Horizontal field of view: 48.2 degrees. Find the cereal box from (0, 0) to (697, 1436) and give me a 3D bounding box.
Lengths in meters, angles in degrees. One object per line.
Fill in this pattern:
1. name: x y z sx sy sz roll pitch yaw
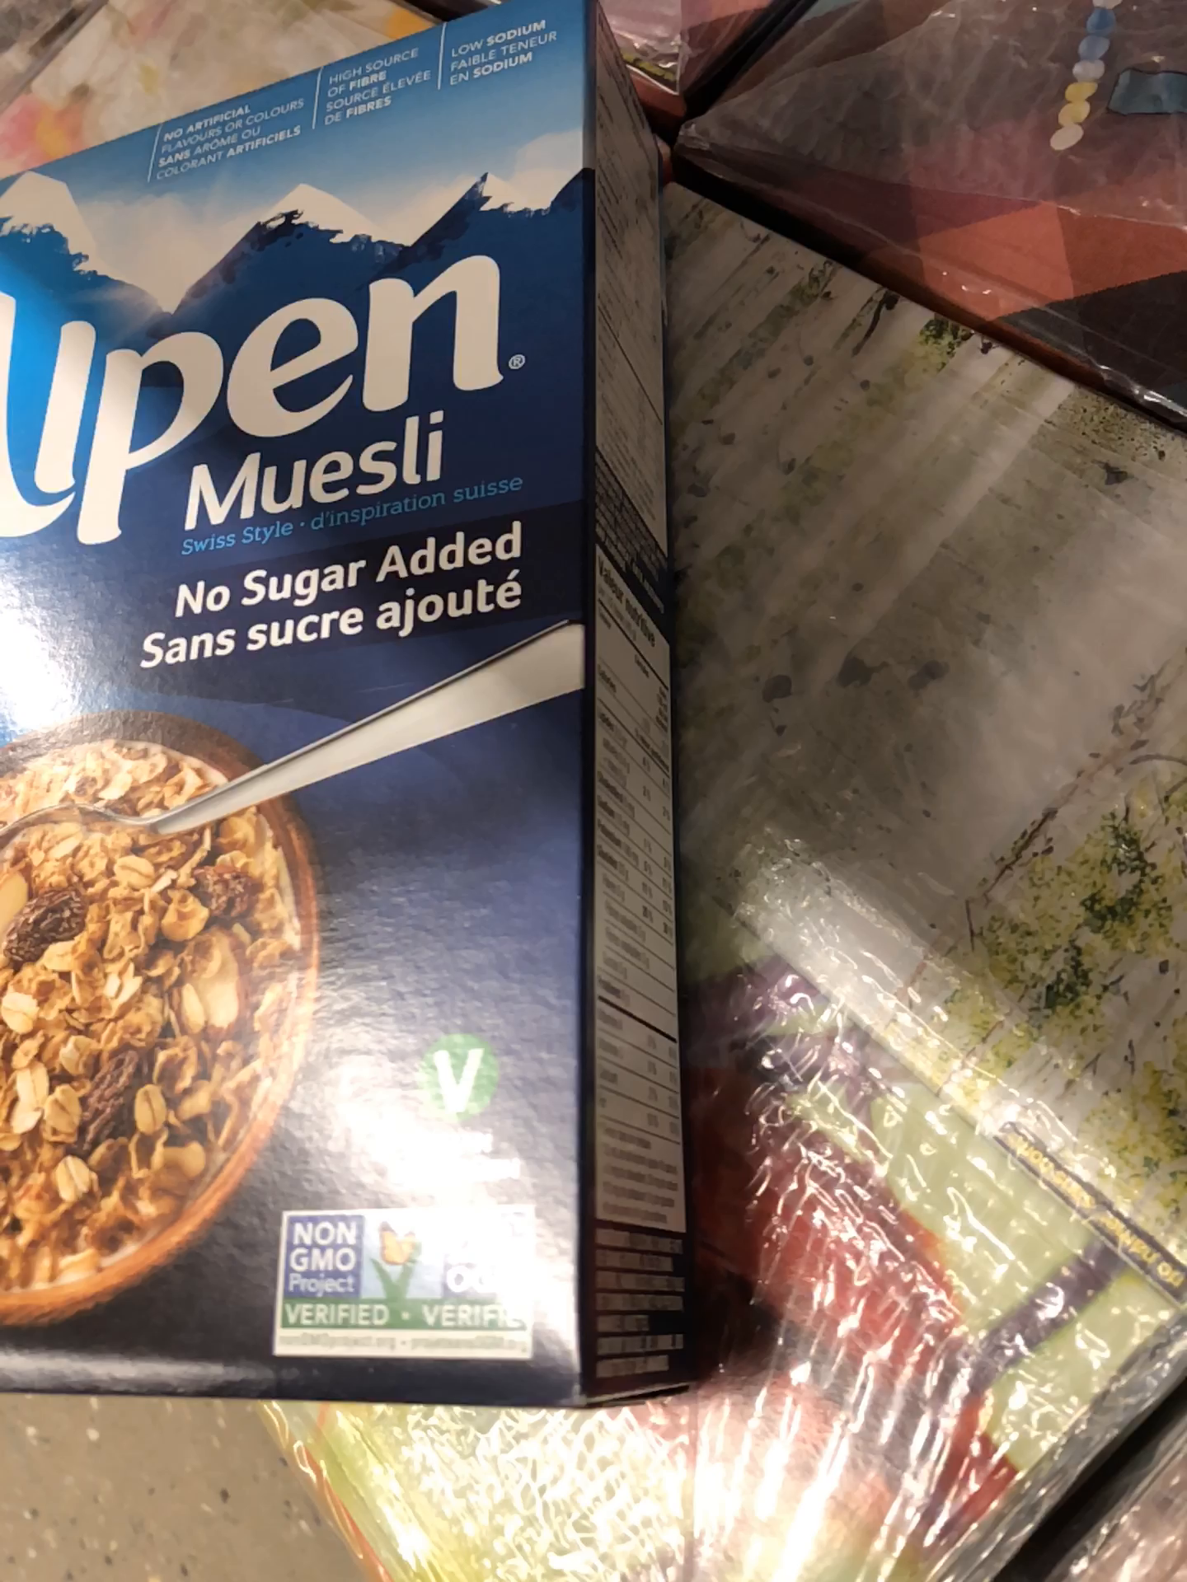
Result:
1. cereal box: -0.083 -0.033 0.250 0.190 0.050 0.270 -8 67 19
